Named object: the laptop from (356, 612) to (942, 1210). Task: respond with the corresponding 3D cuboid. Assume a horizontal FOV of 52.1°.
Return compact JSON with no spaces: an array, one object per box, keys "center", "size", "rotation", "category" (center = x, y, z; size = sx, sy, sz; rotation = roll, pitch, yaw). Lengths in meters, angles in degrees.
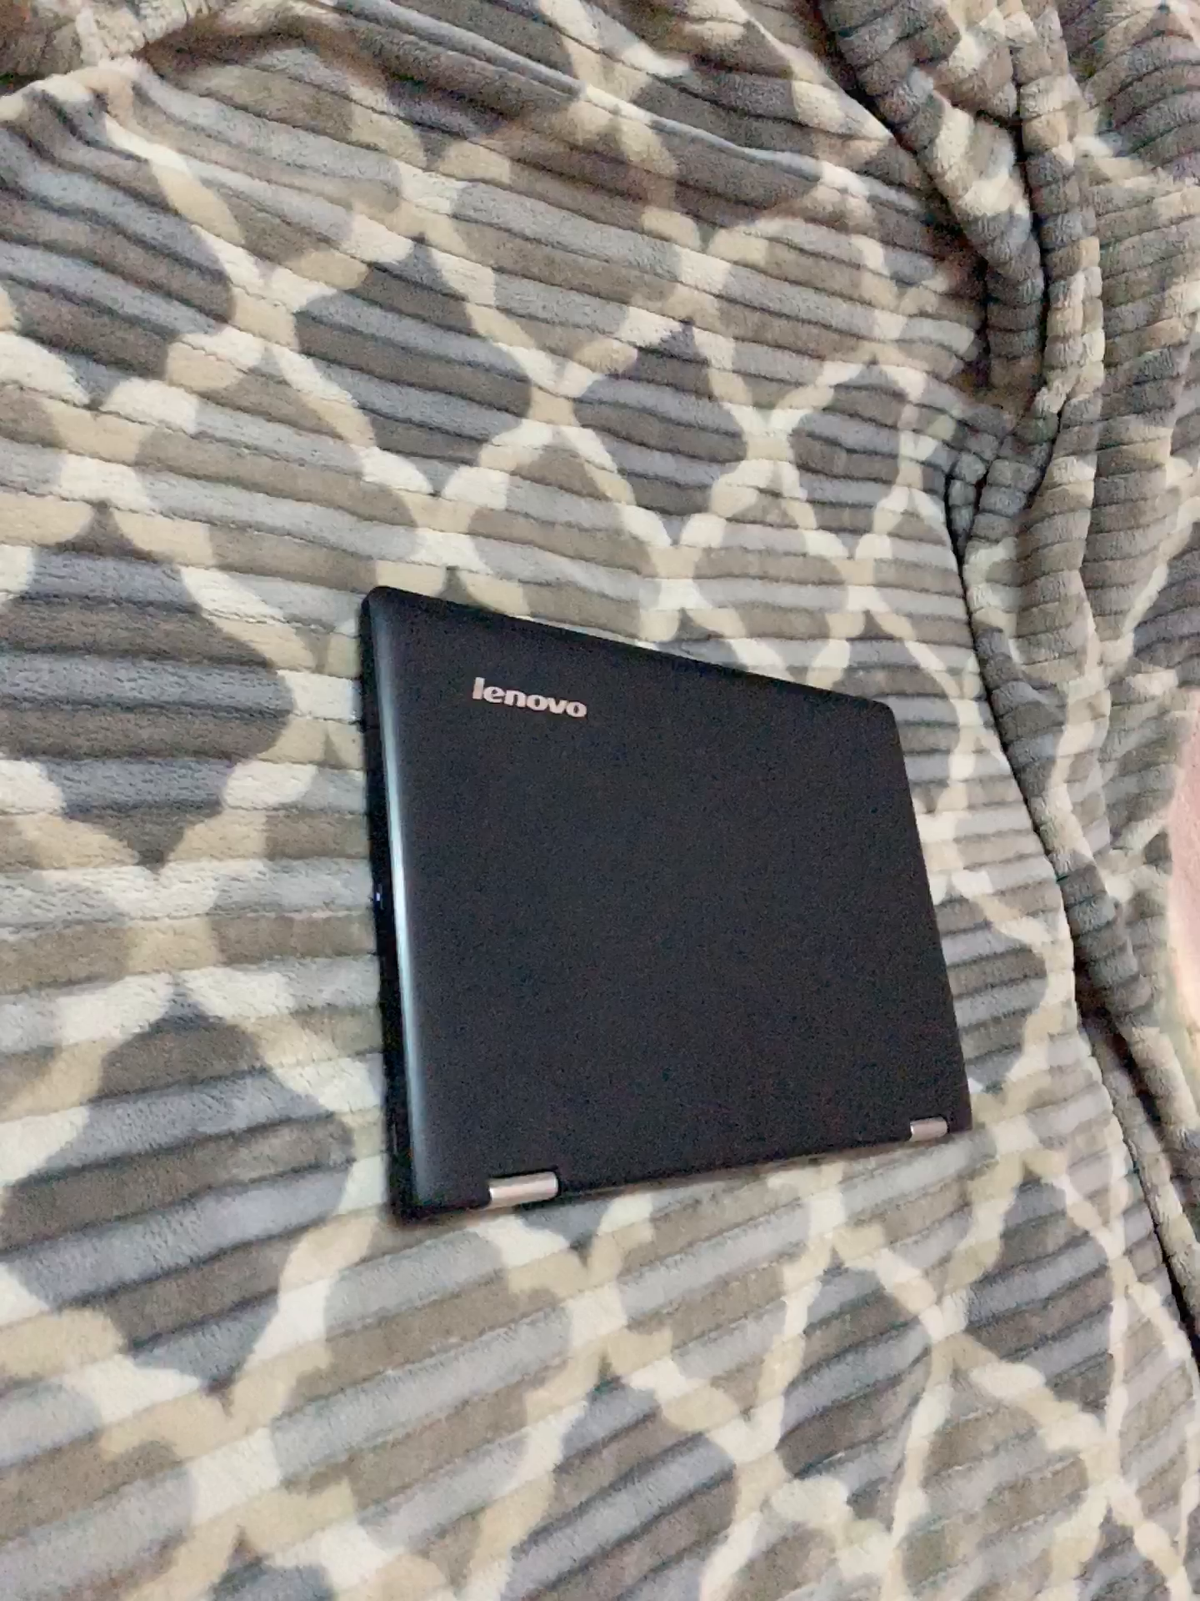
[{"center":[0.042,0.049,0.573],"size":[0.341,0.003,0.228],"rotation":[7,70,-41],"category":"laptop"}]
